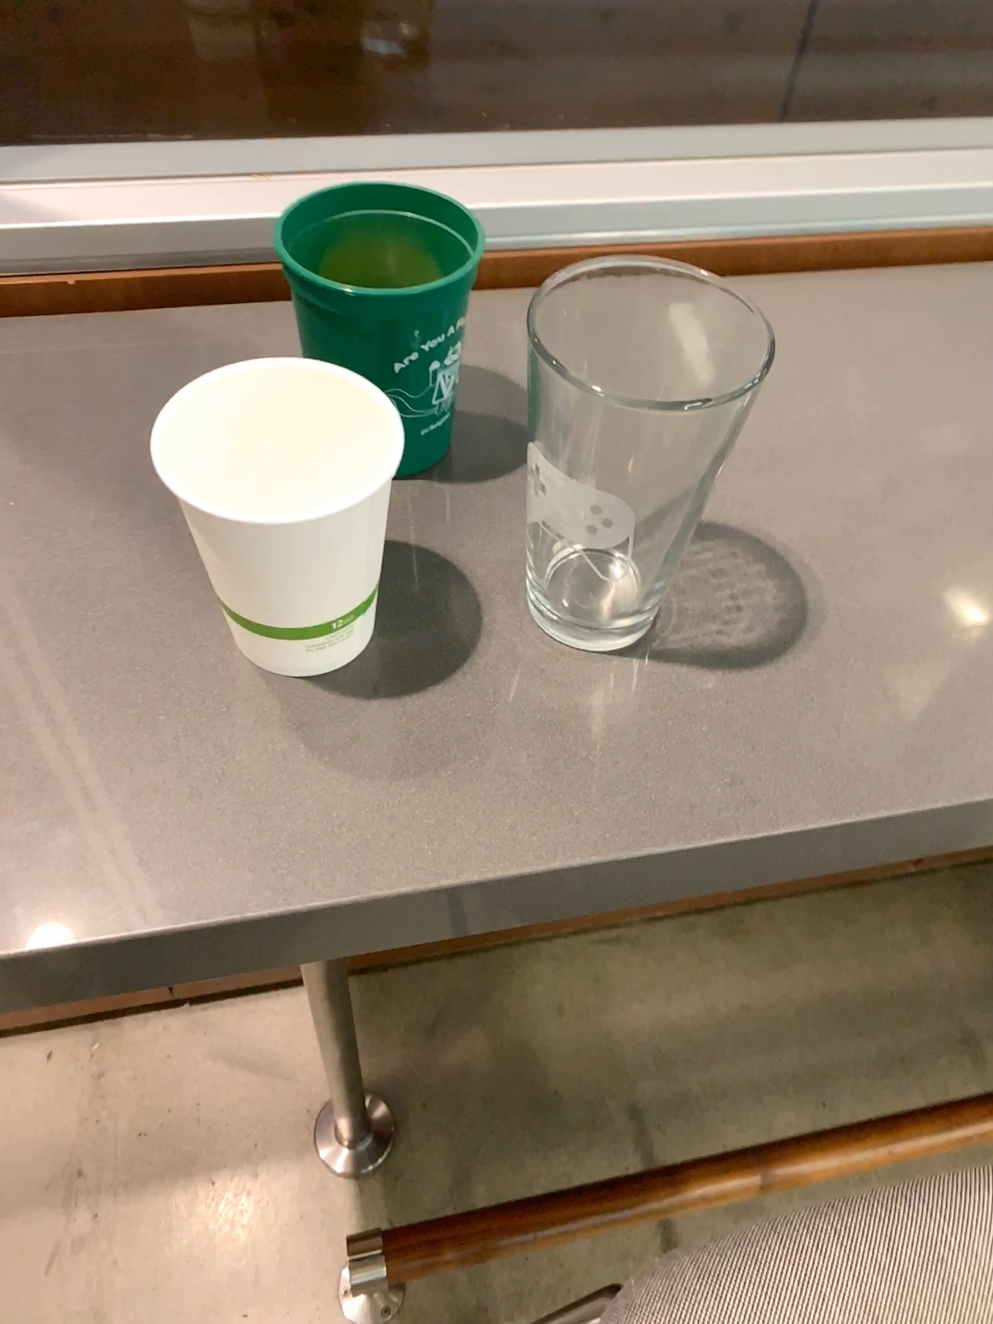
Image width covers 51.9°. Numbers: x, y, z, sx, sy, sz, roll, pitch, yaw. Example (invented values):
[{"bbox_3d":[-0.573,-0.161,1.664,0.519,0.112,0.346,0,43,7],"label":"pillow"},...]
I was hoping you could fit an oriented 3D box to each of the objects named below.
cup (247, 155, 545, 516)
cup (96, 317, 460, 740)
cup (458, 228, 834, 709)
[{"bbox_3d":[-0.046,-0.153,0.481,0.090,0.110,0.090,2,51,-3],"label":"cup"},{"bbox_3d":[-0.079,-0.052,0.405,0.090,0.110,0.090,2,51,-3],"label":"cup"},{"bbox_3d":[0.051,-0.074,0.408,0.090,0.139,0.090,2,51,-3],"label":"cup"}]
